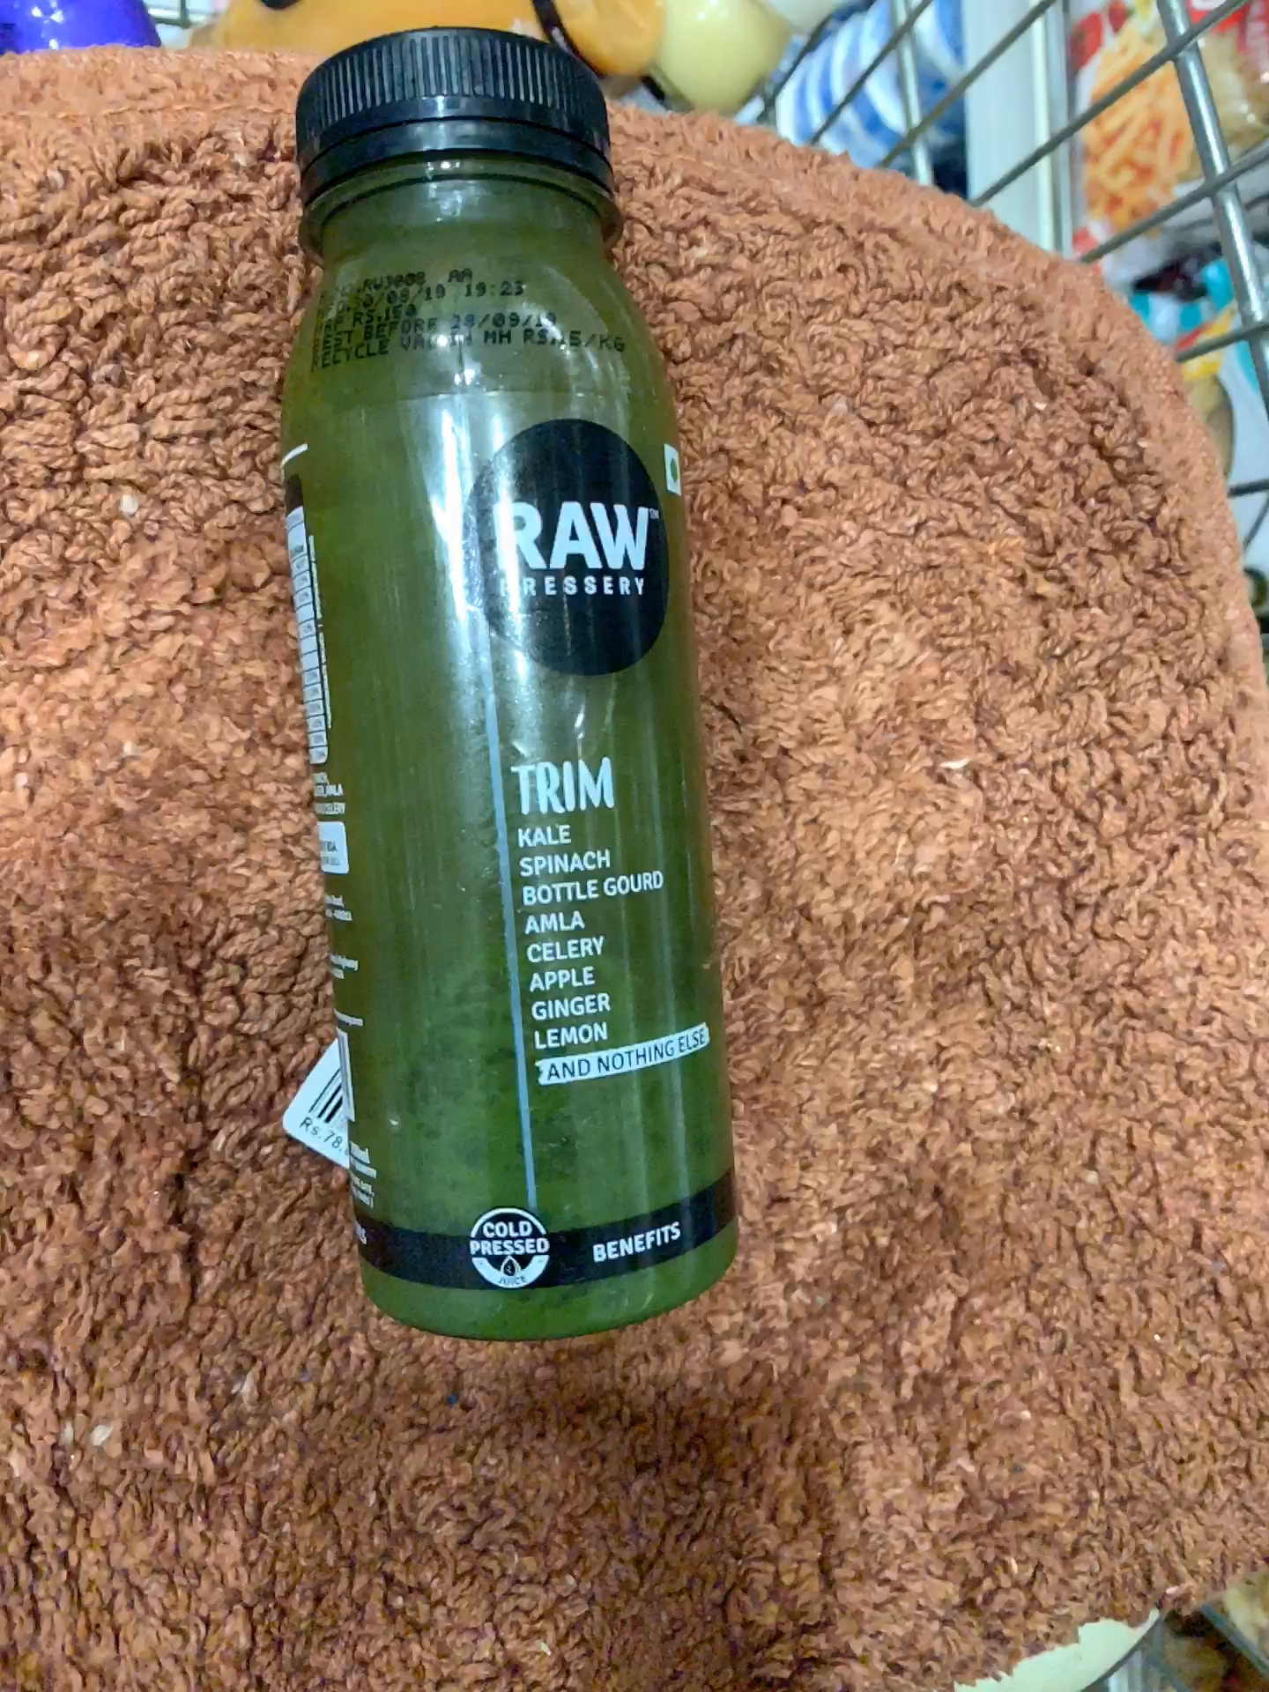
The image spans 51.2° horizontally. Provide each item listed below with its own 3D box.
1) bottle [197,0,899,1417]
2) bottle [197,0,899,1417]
[{"bbox_3d":[-0.013,-0.021,0.164,0.060,0.050,0.150,-5,91,-27],"label":"bottle"},{"bbox_3d":[-0.013,-0.021,0.164,0.060,0.050,0.150,-5,91,-27],"label":"bottle"}]
